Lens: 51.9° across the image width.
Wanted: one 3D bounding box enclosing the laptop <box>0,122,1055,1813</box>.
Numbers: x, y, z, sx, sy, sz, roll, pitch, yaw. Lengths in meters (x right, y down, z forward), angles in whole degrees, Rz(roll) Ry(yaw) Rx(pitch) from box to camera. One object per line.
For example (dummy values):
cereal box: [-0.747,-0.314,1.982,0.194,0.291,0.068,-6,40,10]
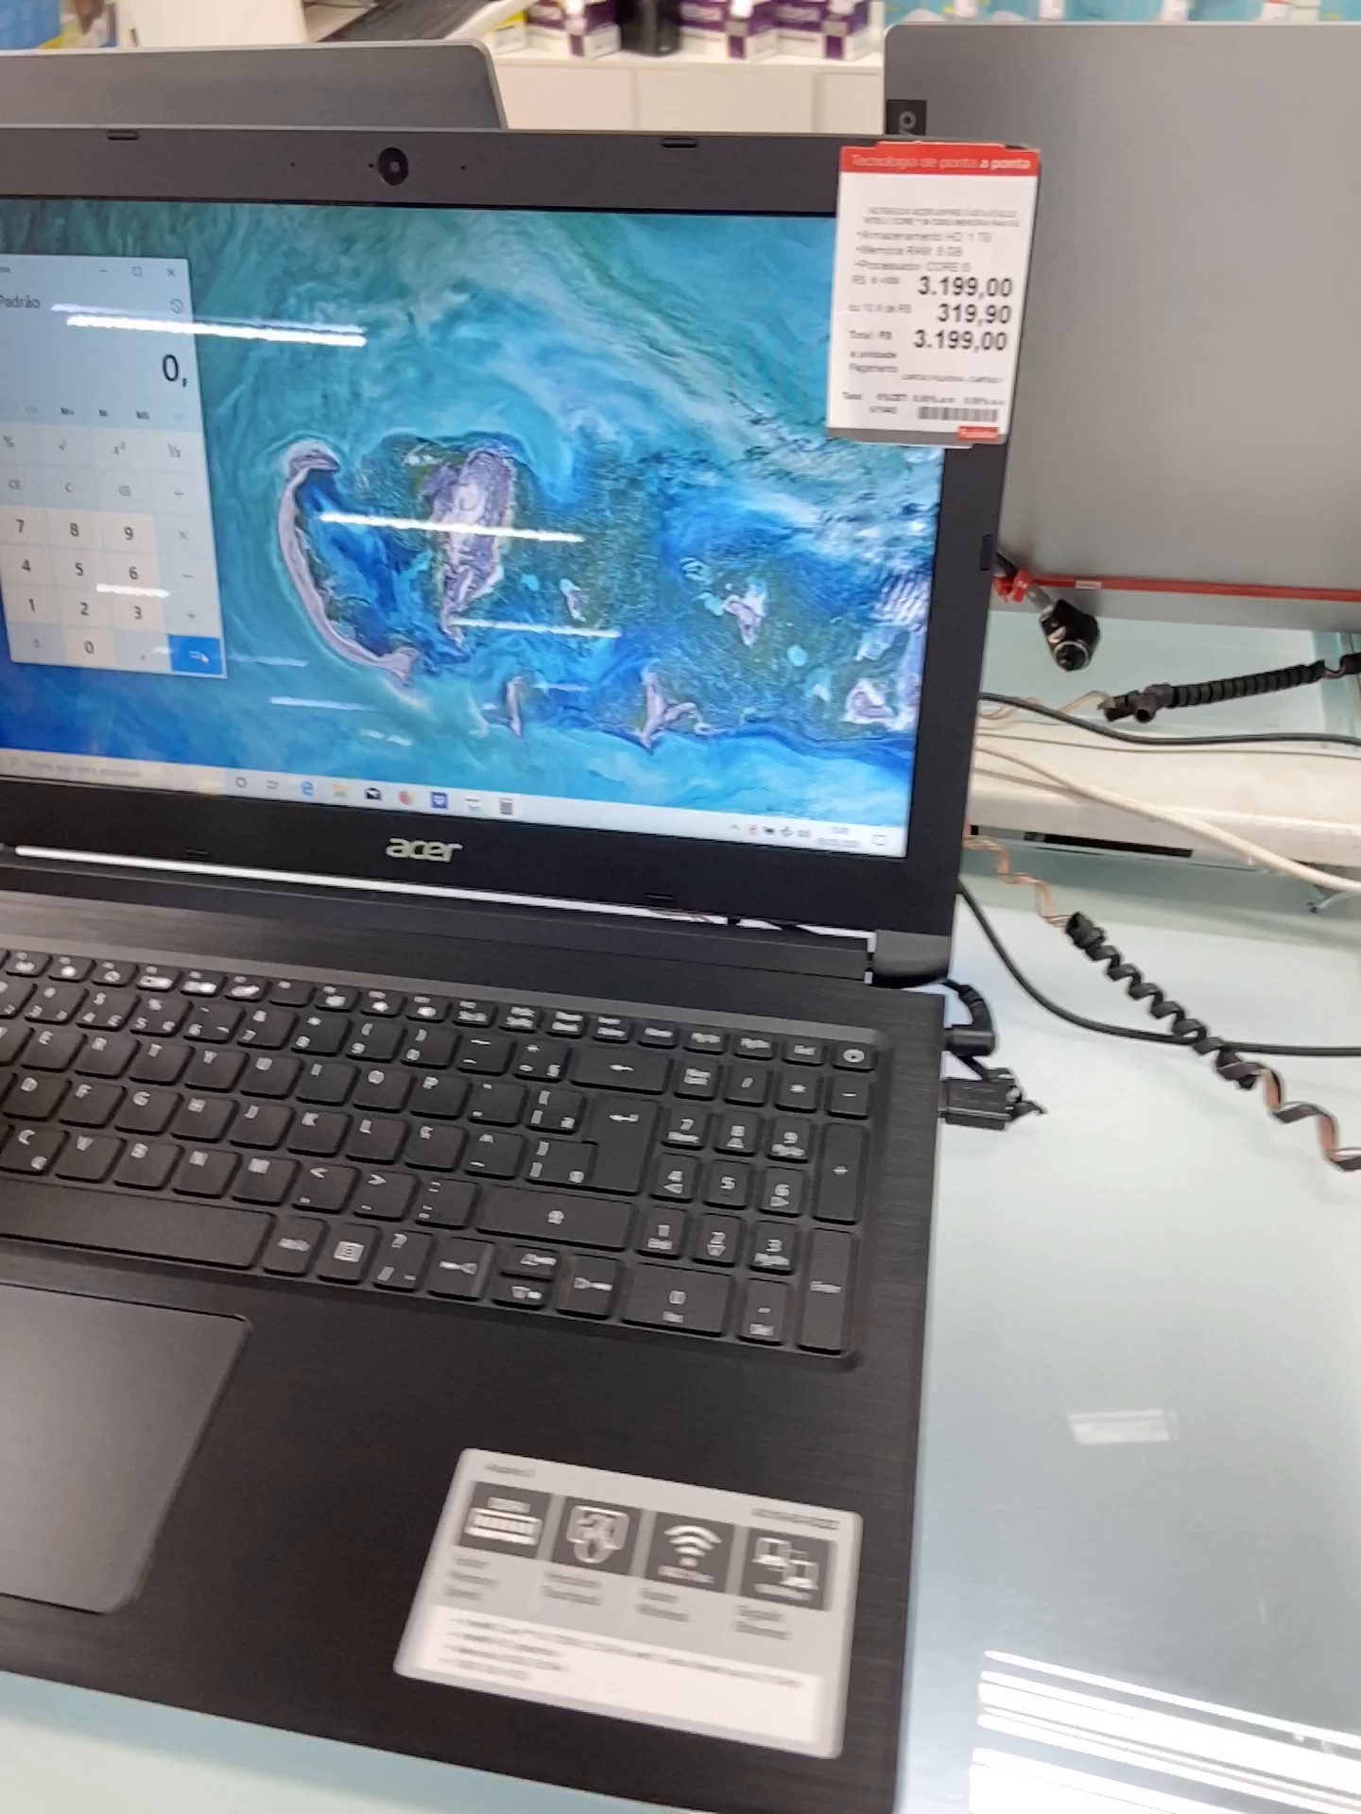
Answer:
laptop: [-0.110,-0.028,0.372,0.375,0.227,0.354,5,44,10]
